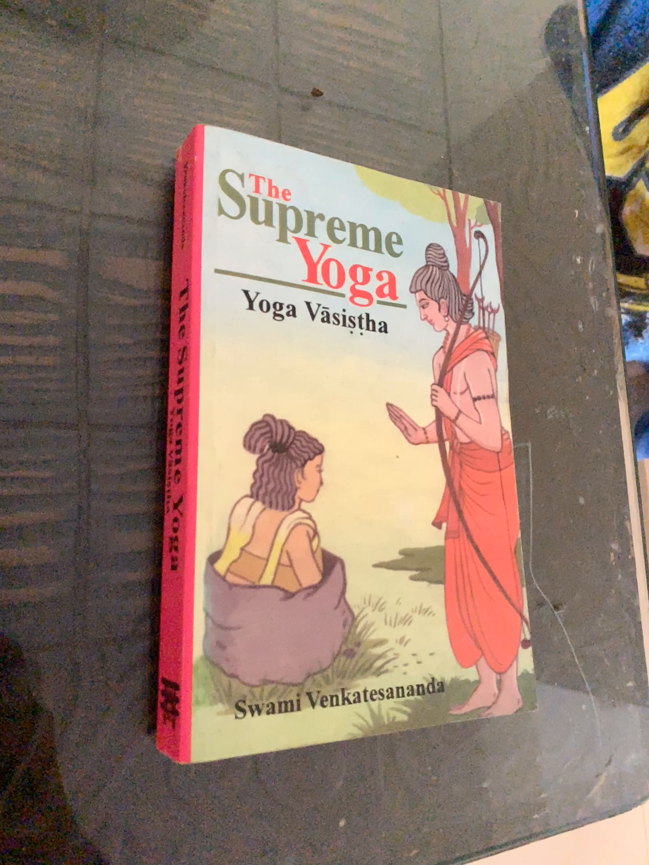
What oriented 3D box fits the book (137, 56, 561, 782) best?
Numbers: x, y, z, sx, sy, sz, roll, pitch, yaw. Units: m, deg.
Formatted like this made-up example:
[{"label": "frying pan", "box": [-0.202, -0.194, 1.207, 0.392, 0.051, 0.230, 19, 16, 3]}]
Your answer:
[{"label": "book", "box": [0.012, -0.007, 0.235, 0.140, 0.030, 0.210, 4, 79, -26]}]
